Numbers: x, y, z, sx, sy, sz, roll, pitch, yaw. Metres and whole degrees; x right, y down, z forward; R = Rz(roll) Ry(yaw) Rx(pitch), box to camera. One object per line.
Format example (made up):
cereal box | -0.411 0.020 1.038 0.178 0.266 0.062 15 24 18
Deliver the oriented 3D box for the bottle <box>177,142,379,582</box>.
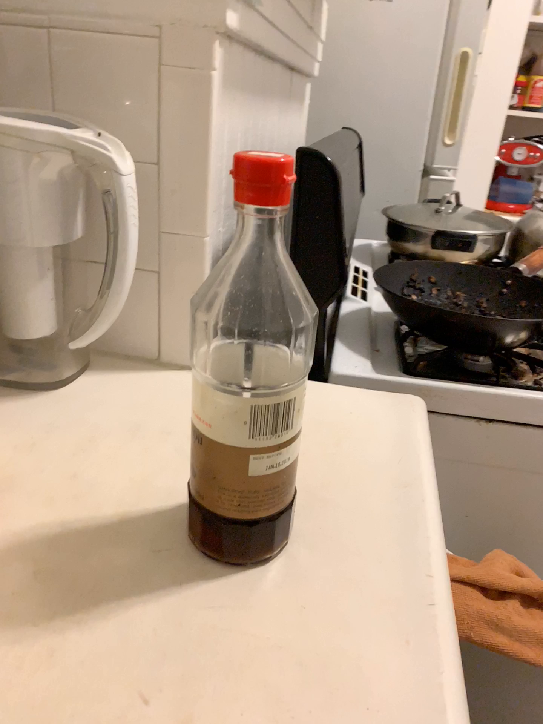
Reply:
bottle | -0.005 0.007 0.354 0.090 0.259 0.091 4 26 -2
